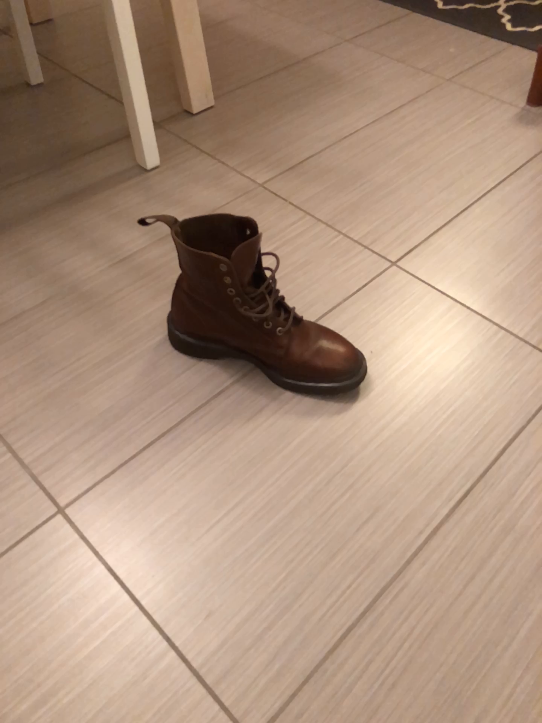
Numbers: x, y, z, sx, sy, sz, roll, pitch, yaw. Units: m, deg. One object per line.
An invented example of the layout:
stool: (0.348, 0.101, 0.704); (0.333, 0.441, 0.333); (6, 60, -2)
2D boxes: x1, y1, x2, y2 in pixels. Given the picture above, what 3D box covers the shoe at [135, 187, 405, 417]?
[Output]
shoe: (-0.002, -0.074, 0.733); (0.282, 0.179, 0.116); (19, 52, 15)
